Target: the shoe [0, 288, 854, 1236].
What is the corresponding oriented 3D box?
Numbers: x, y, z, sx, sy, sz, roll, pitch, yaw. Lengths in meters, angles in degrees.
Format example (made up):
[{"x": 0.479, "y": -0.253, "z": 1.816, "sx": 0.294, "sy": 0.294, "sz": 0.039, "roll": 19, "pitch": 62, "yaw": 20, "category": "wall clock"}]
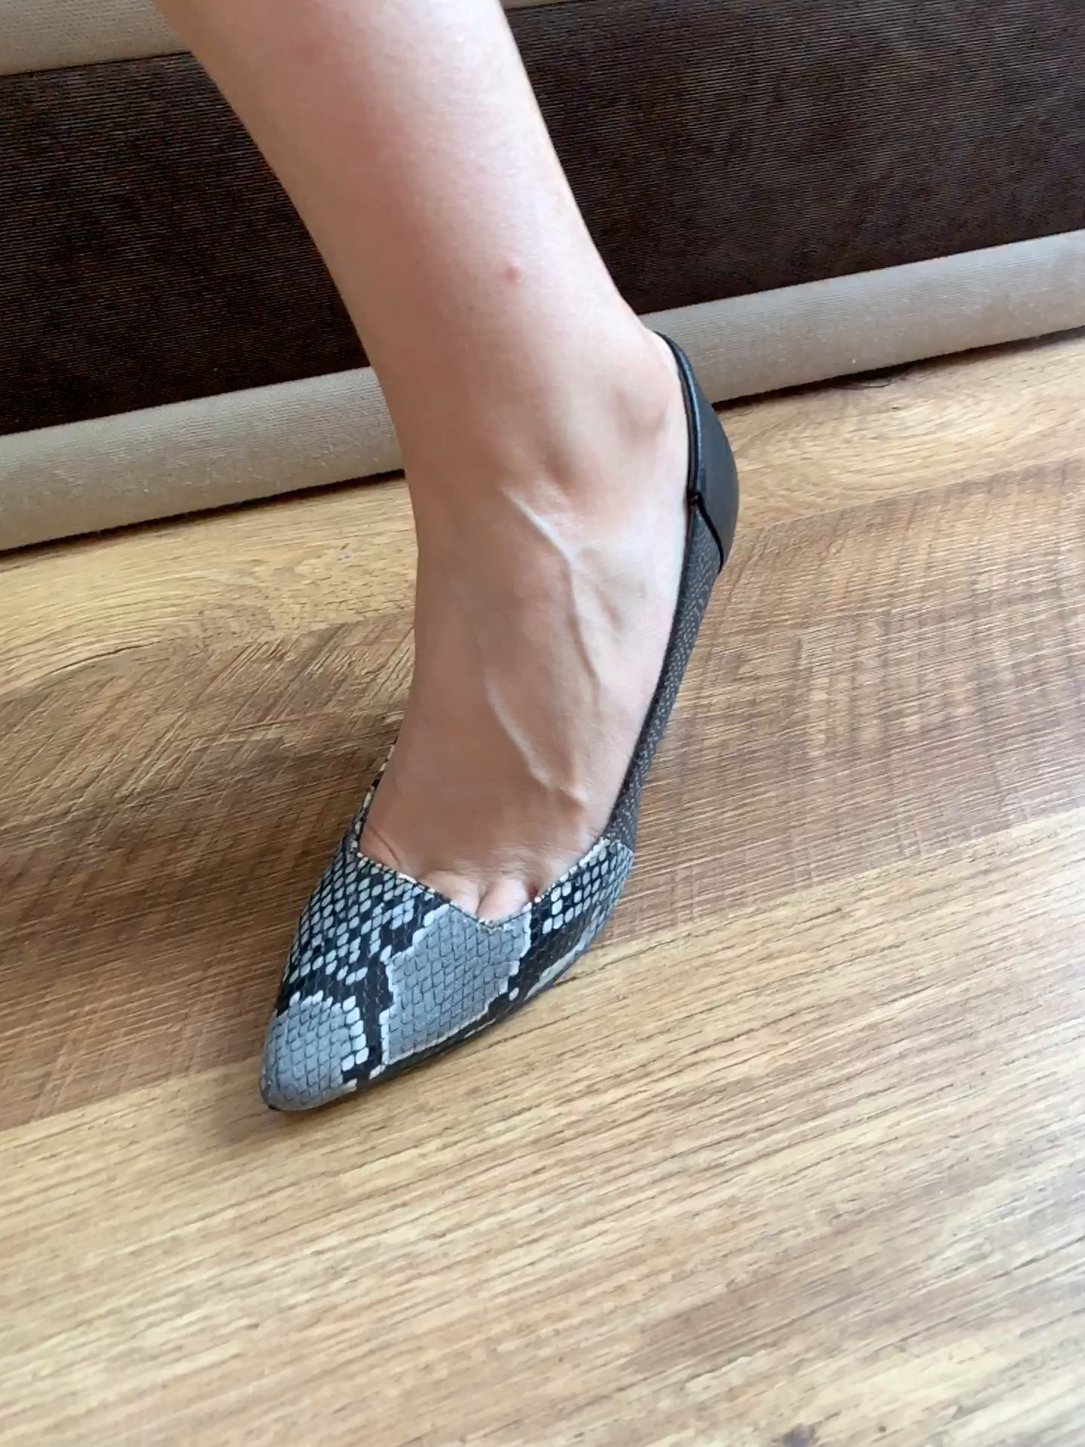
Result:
[{"x": -0.009, "y": -0.014, "z": 0.311, "sx": 0.090, "sy": 0.109, "sz": 0.251, "roll": 21, "pitch": 48, "yaw": 24, "category": "shoe"}]
